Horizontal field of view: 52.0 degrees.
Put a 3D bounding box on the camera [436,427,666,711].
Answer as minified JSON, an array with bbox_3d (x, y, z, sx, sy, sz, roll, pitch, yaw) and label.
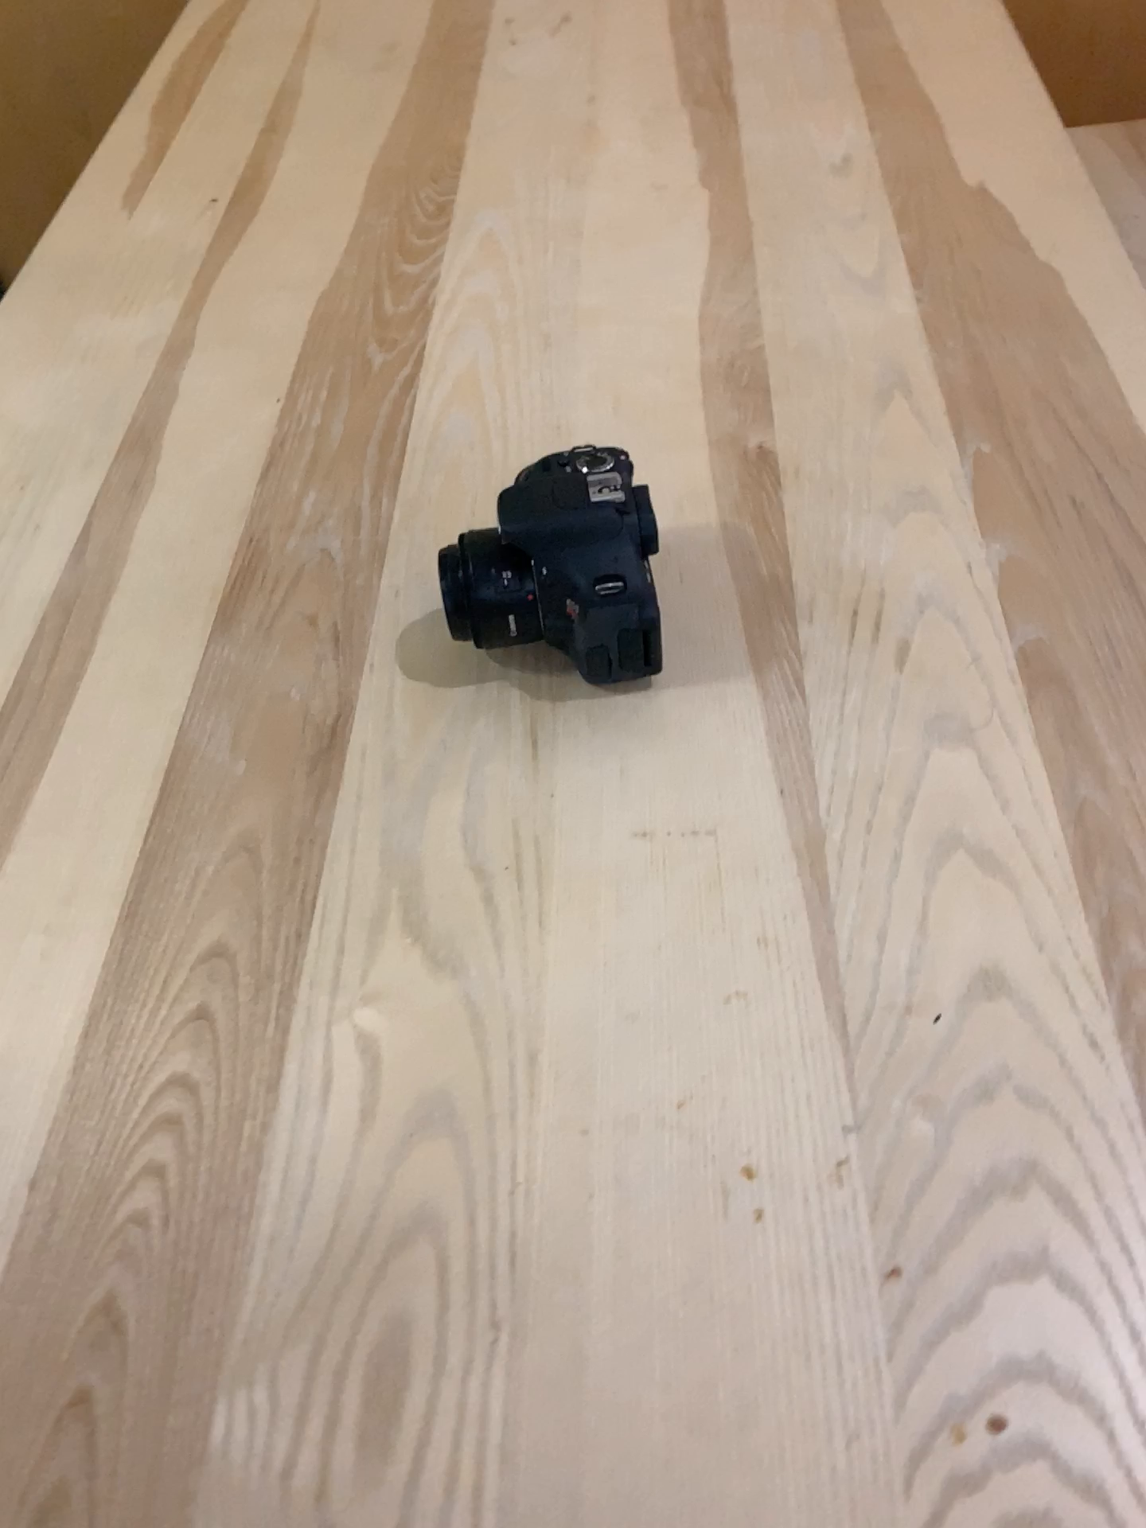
[{"bbox_3d":[-0.016,-0.113,0.680,0.114,0.101,0.121,-5,50,-5],"label":"camera"}]
